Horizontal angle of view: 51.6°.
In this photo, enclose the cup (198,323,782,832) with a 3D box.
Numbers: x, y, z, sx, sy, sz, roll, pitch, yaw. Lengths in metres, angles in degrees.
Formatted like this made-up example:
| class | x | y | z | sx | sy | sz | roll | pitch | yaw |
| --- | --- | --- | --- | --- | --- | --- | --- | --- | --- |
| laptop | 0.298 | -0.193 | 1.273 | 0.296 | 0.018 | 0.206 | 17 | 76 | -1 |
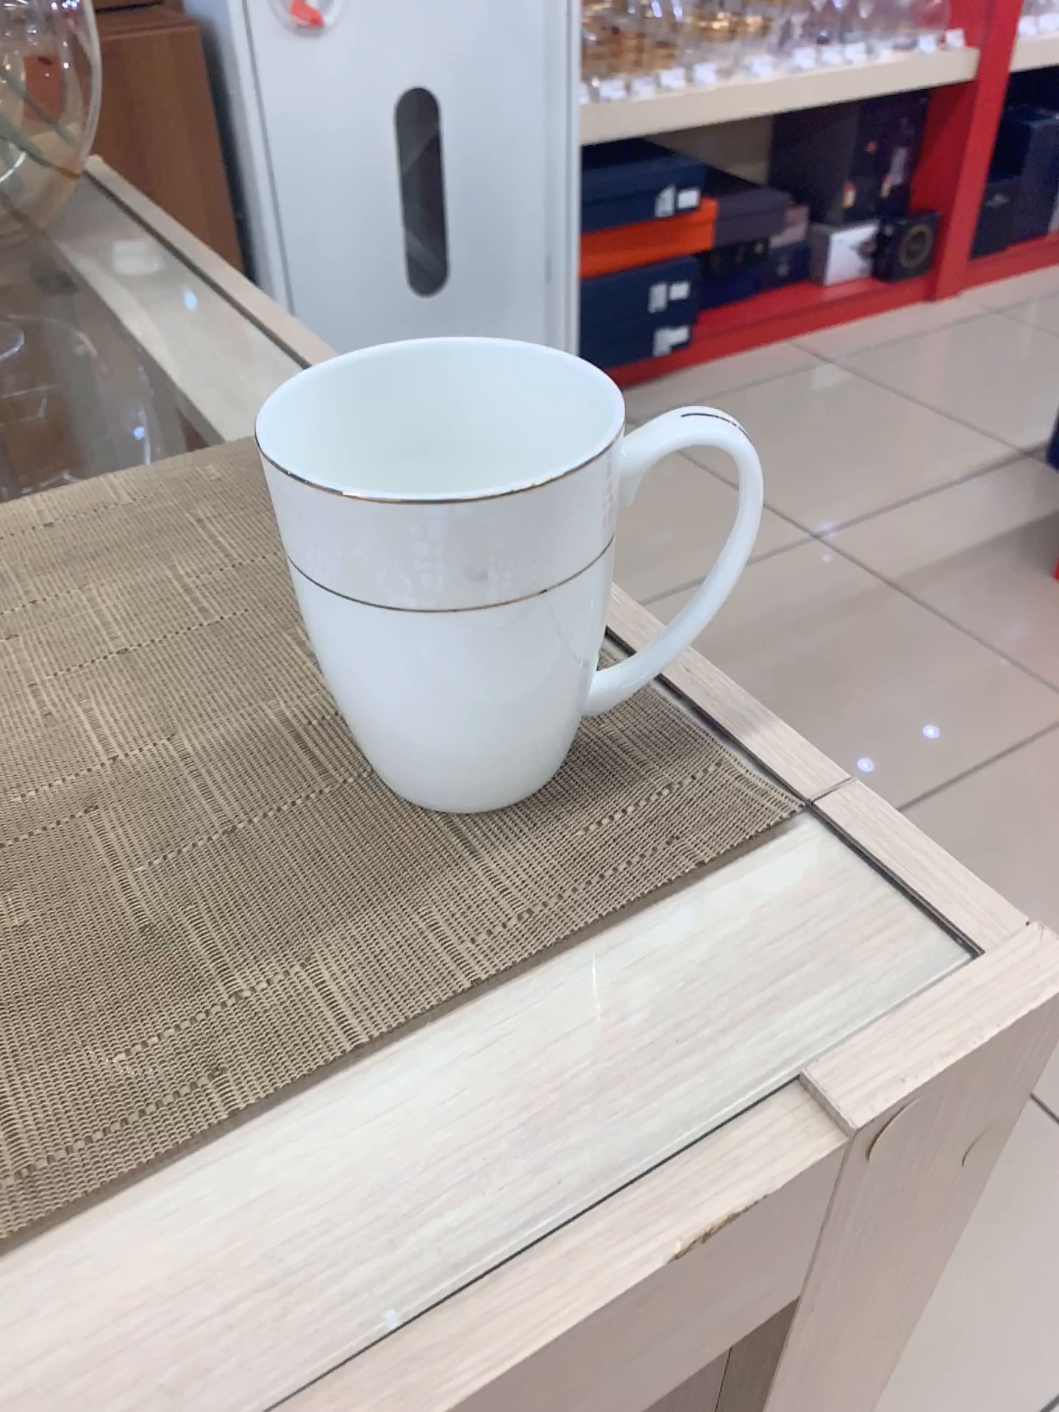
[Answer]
| class | x | y | z | sx | sy | sz | roll | pitch | yaw |
| --- | --- | --- | --- | --- | --- | --- | --- | --- | --- |
| cup | -0.006 | -0.036 | 0.291 | 0.120 | 0.100 | 0.090 | 1 | 39 | 3 |
